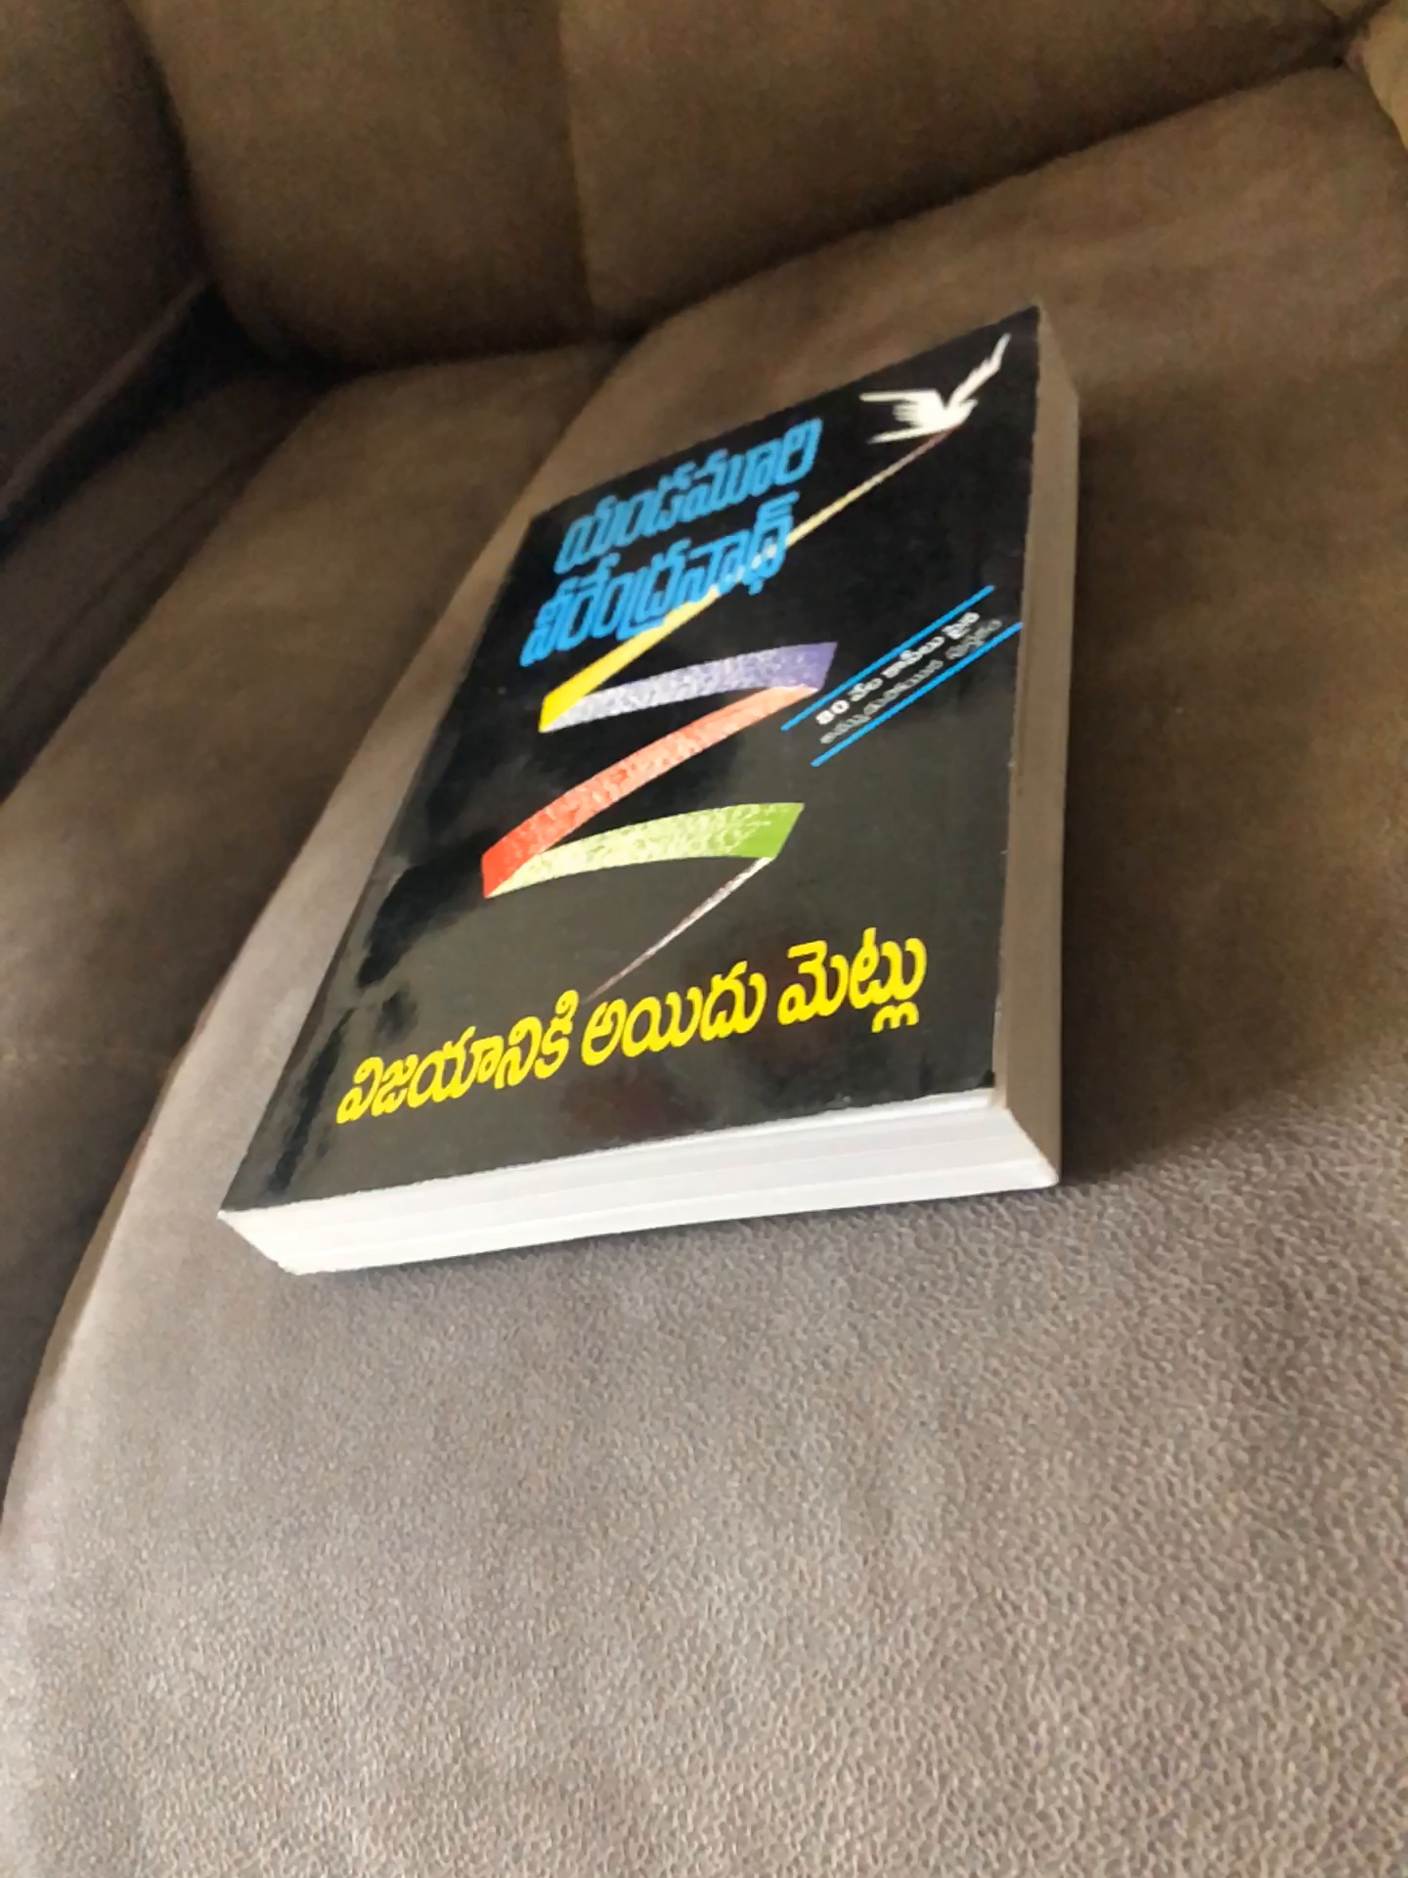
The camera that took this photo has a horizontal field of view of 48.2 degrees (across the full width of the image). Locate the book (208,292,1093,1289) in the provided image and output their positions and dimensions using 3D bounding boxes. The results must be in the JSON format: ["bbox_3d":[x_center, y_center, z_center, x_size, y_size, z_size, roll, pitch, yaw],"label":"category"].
[{"bbox_3d":[0.002,-0.038,0.311,0.144,0.026,0.212,-13,43,27],"label":"book"}]
